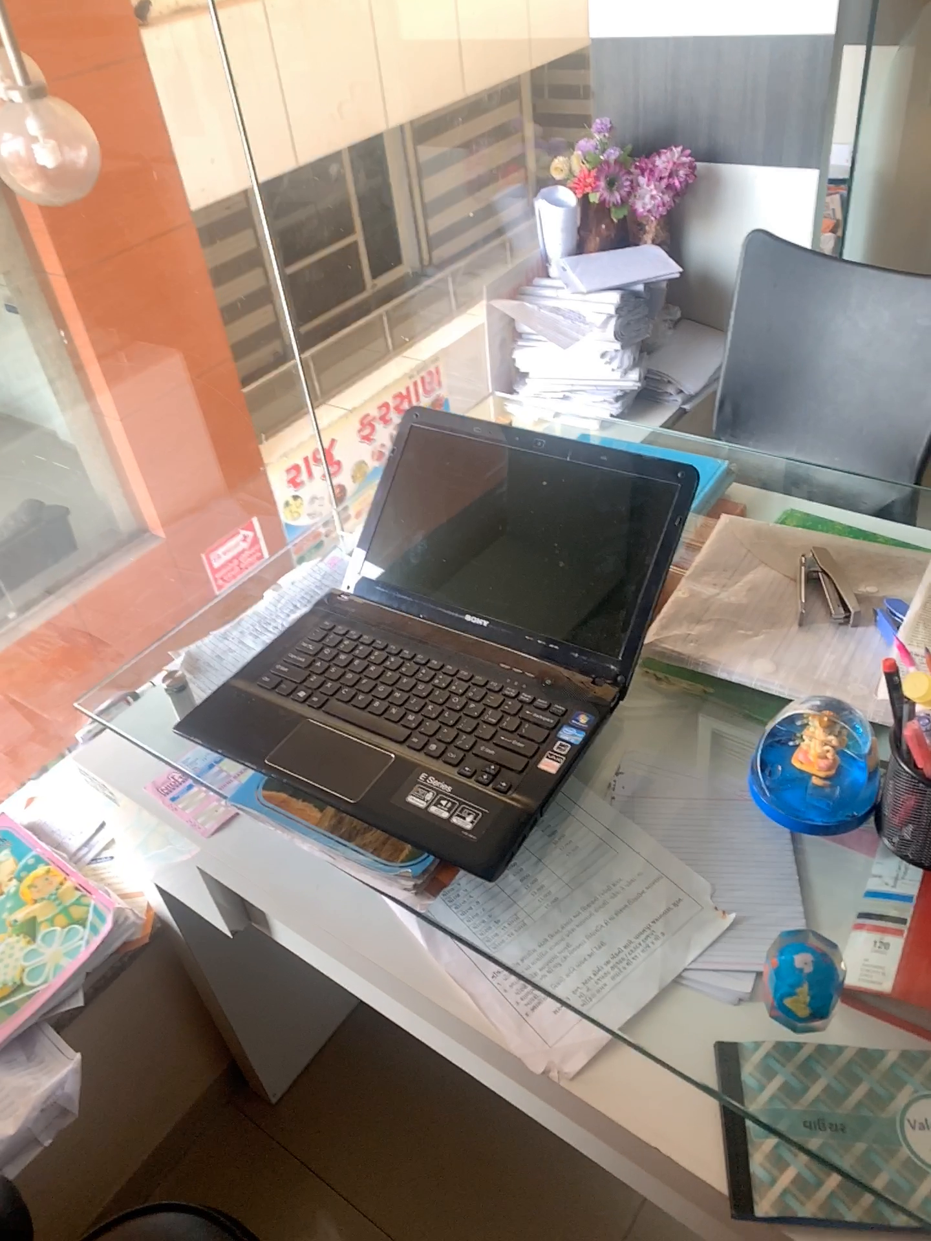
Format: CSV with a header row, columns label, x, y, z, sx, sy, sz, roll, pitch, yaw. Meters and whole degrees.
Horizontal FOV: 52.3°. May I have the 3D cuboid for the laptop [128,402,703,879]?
label,x,y,z,sx,sy,sz,roll,pitch,yaw
laptop,-0.018,-0.019,0.727,0.286,0.111,0.337,18,45,28
